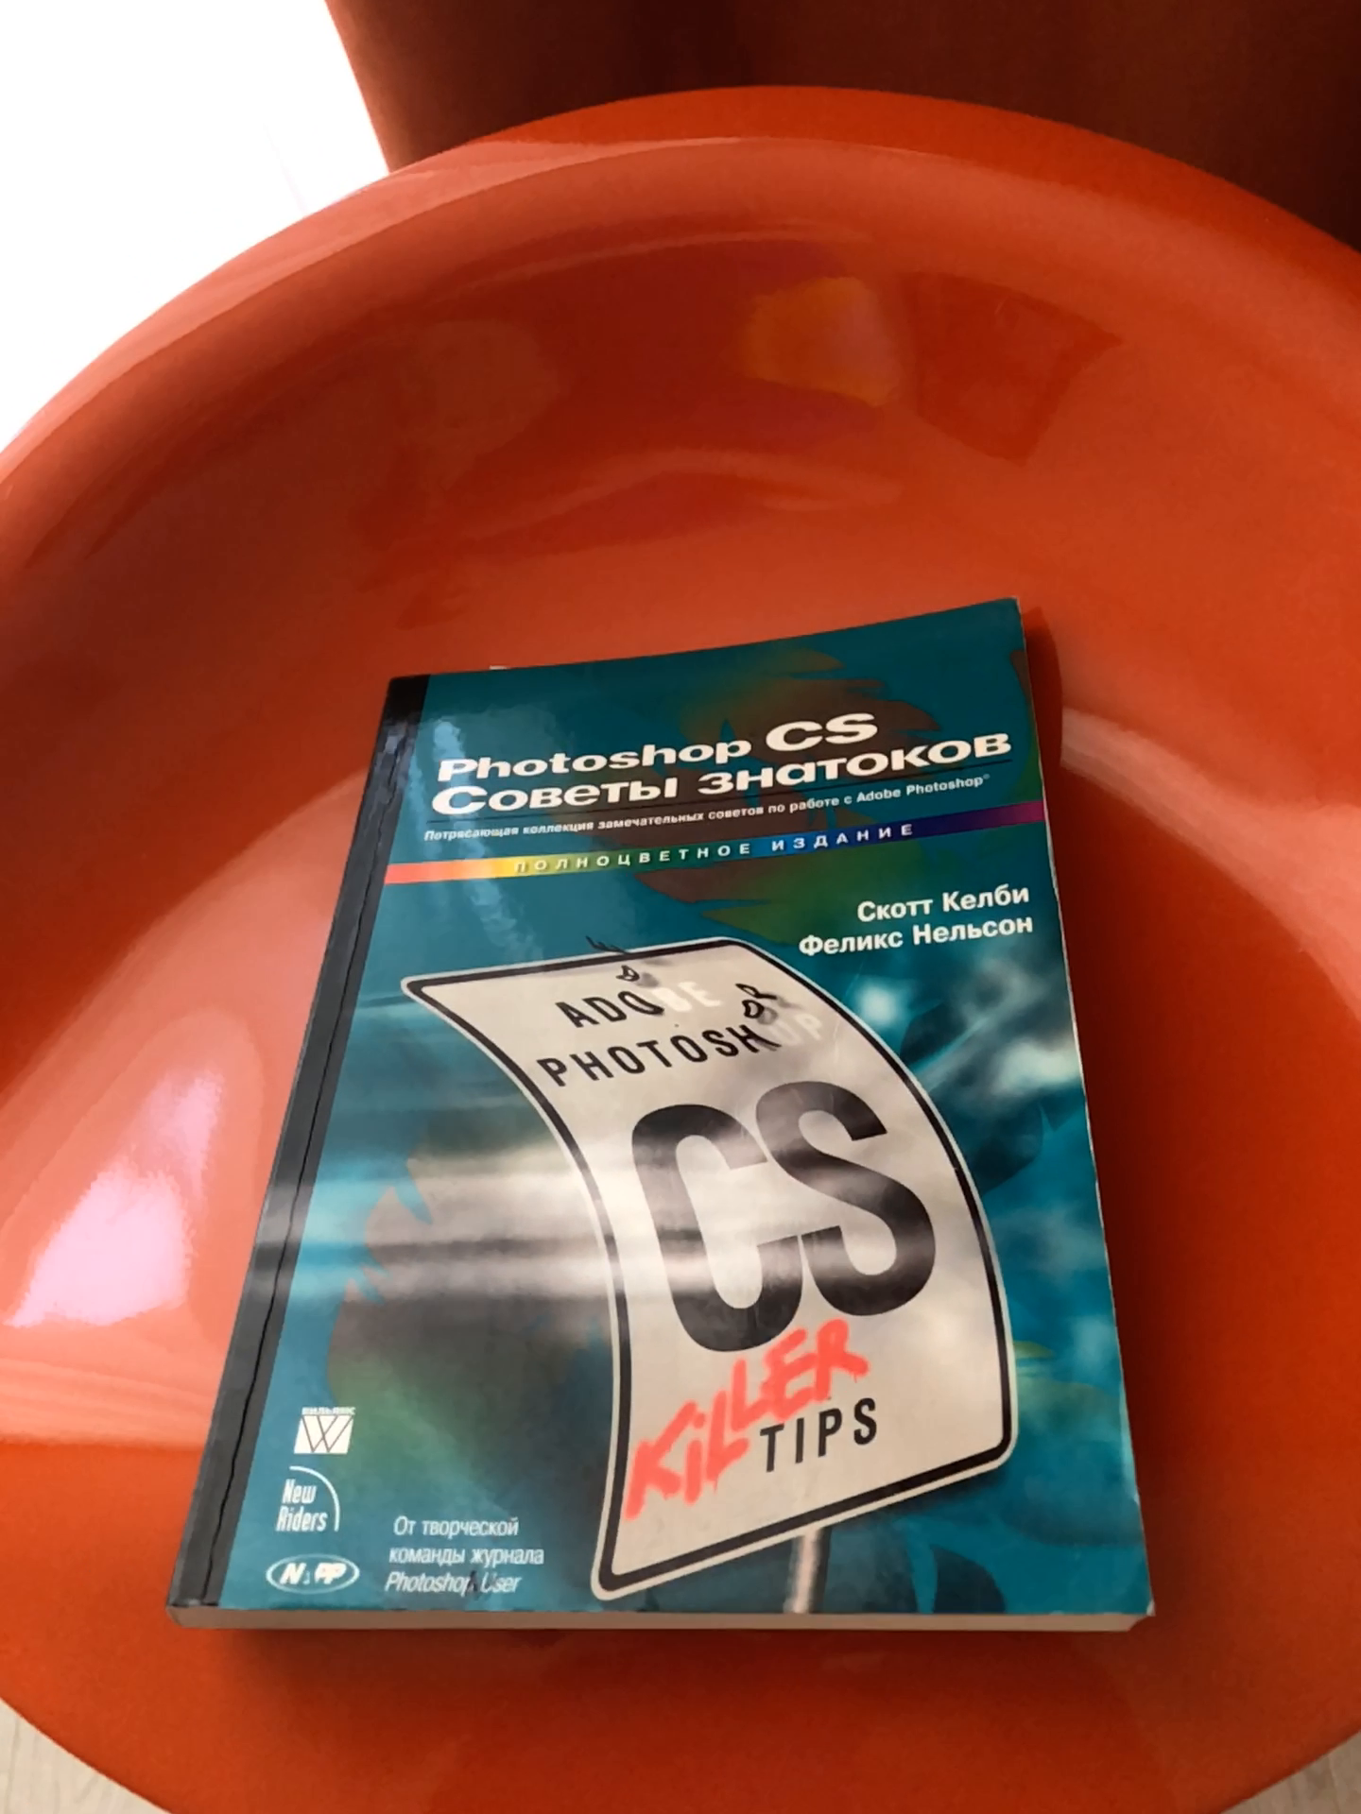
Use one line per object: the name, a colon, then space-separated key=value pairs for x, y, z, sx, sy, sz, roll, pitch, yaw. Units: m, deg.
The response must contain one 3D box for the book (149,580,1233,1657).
book: x=0.004 y=0.028 z=0.323 sx=0.174 sy=0.030 sz=0.237 roll=-5 pitch=50 yaw=10
